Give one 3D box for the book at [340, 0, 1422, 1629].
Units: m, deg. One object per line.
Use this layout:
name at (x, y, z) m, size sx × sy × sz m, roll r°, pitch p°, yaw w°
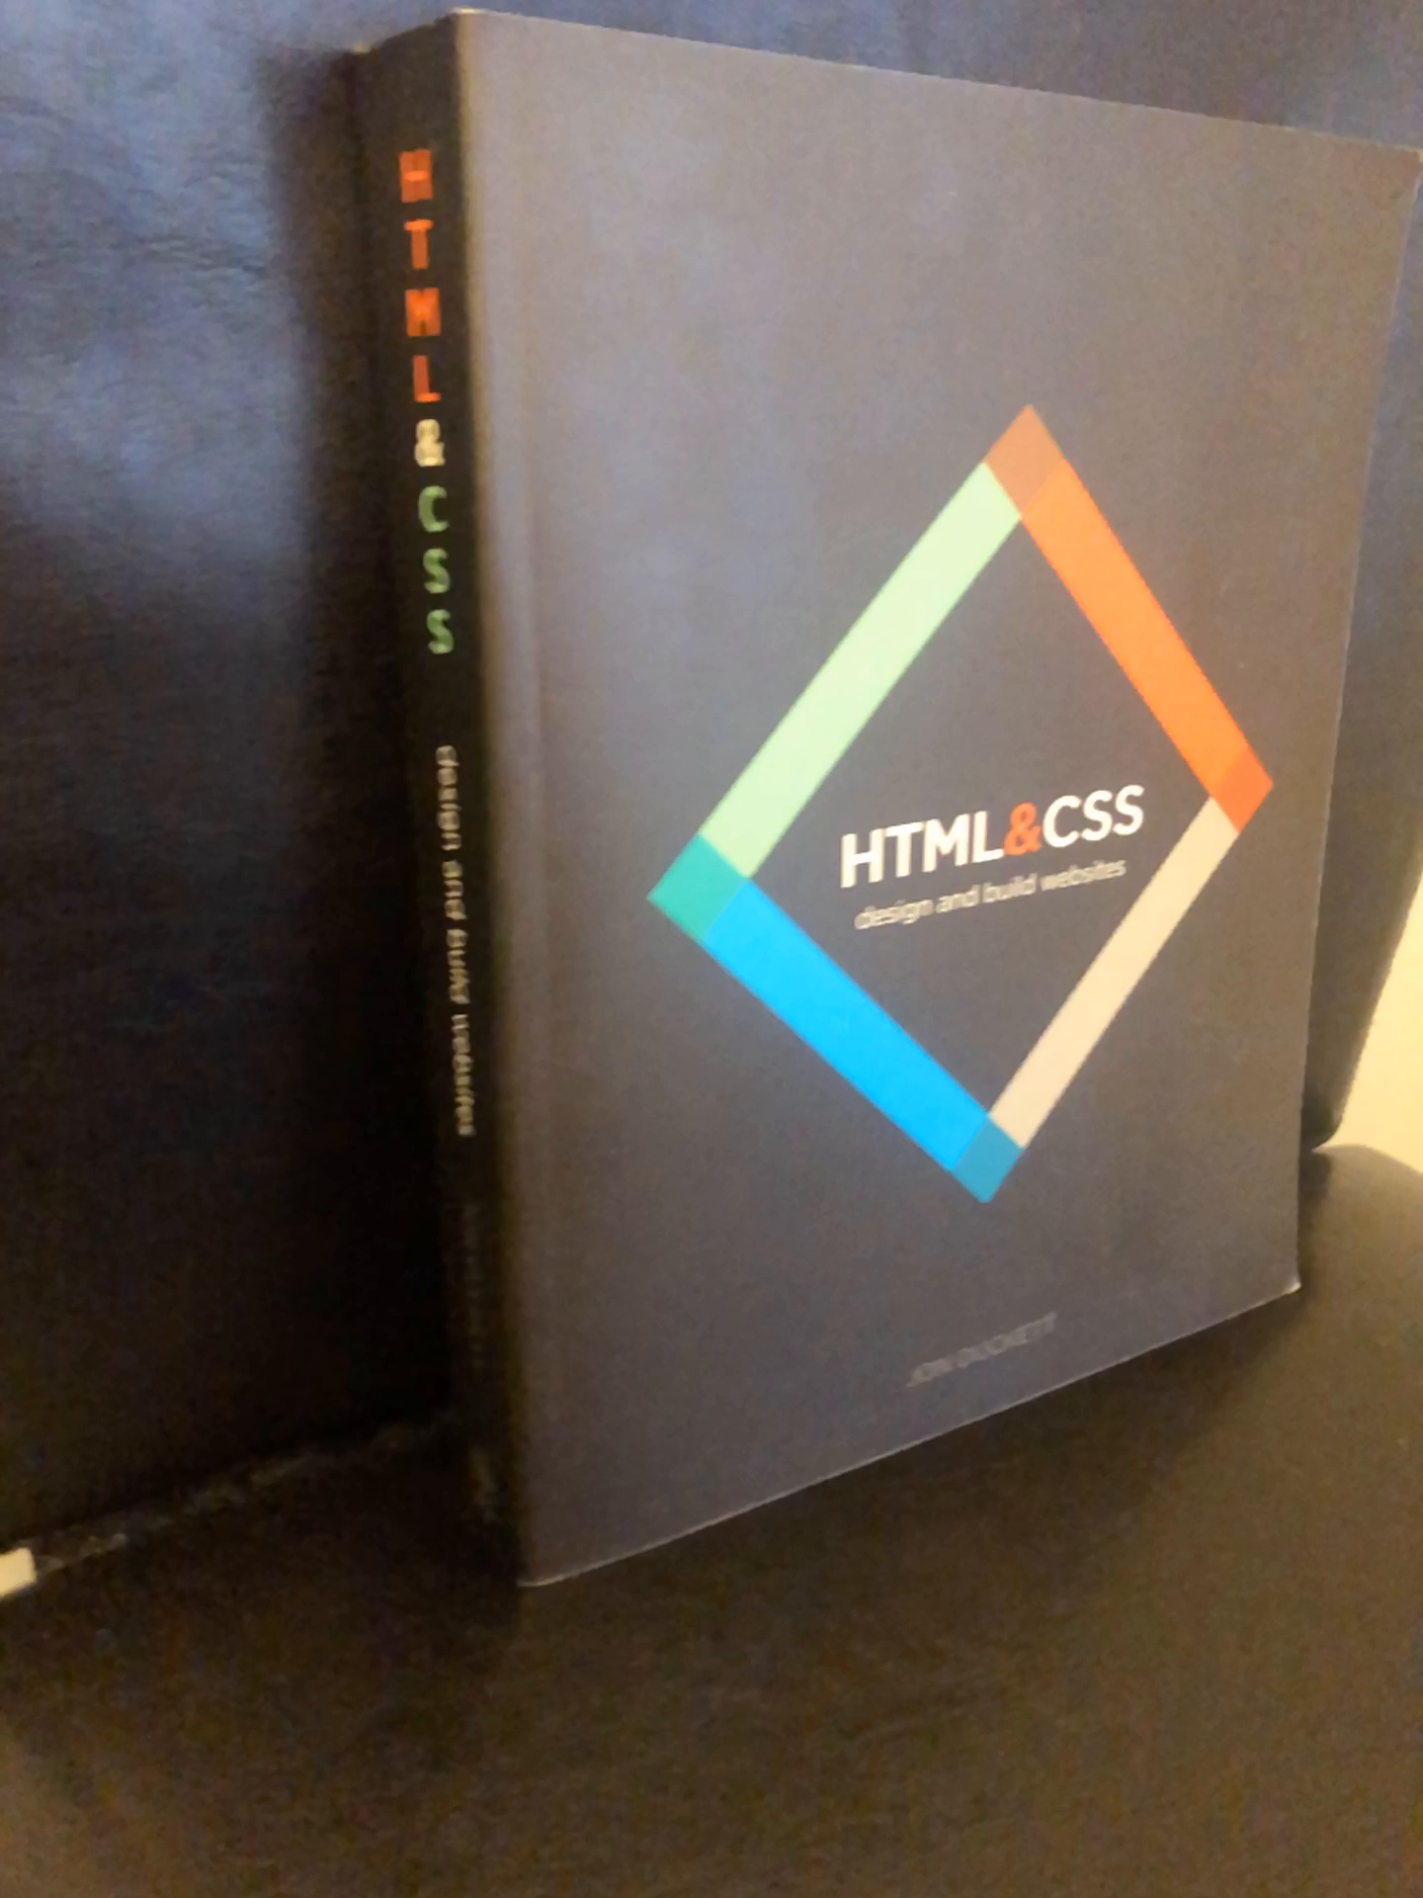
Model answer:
book at (0.040, -0.020, 0.278) m, size 0.189 × 0.231 × 0.030 m, roll -11°, pitch 20°, yaw -29°
